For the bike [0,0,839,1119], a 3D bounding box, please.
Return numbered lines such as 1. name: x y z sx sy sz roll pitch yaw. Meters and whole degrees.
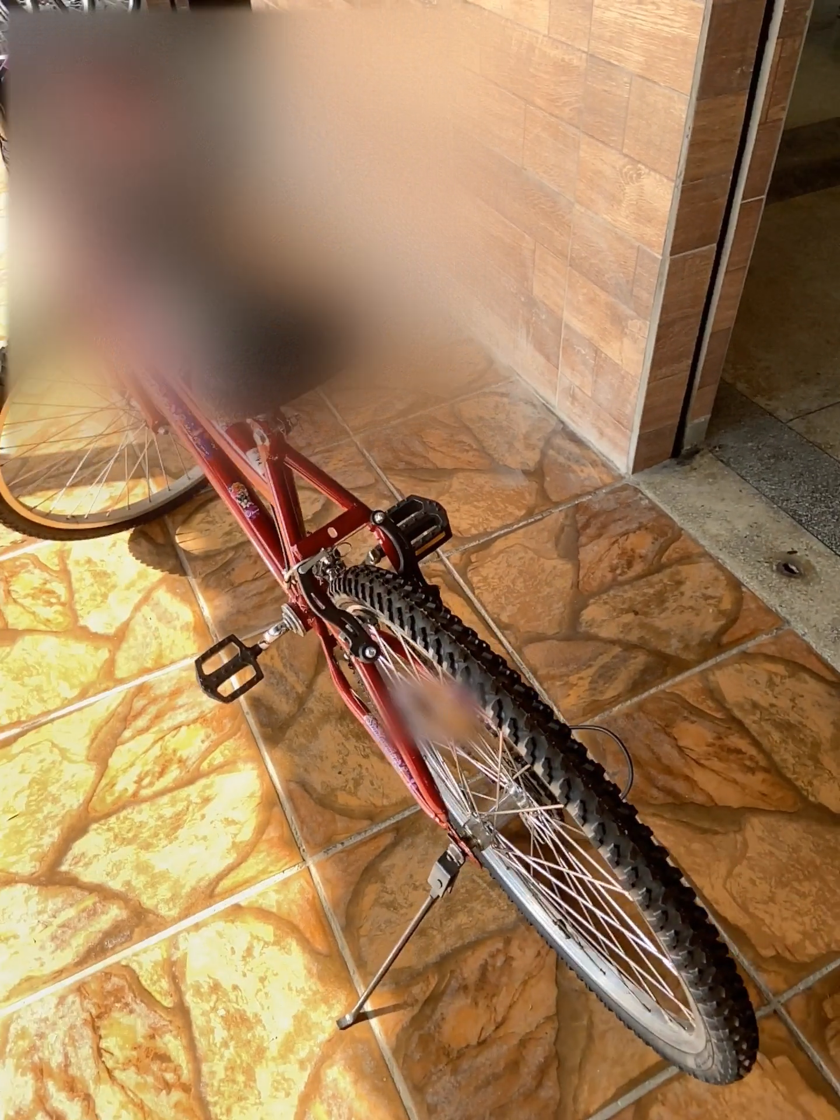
1. bike: -0.119 -0.109 1.034 0.550 1.080 1.415 -19 46 -15
